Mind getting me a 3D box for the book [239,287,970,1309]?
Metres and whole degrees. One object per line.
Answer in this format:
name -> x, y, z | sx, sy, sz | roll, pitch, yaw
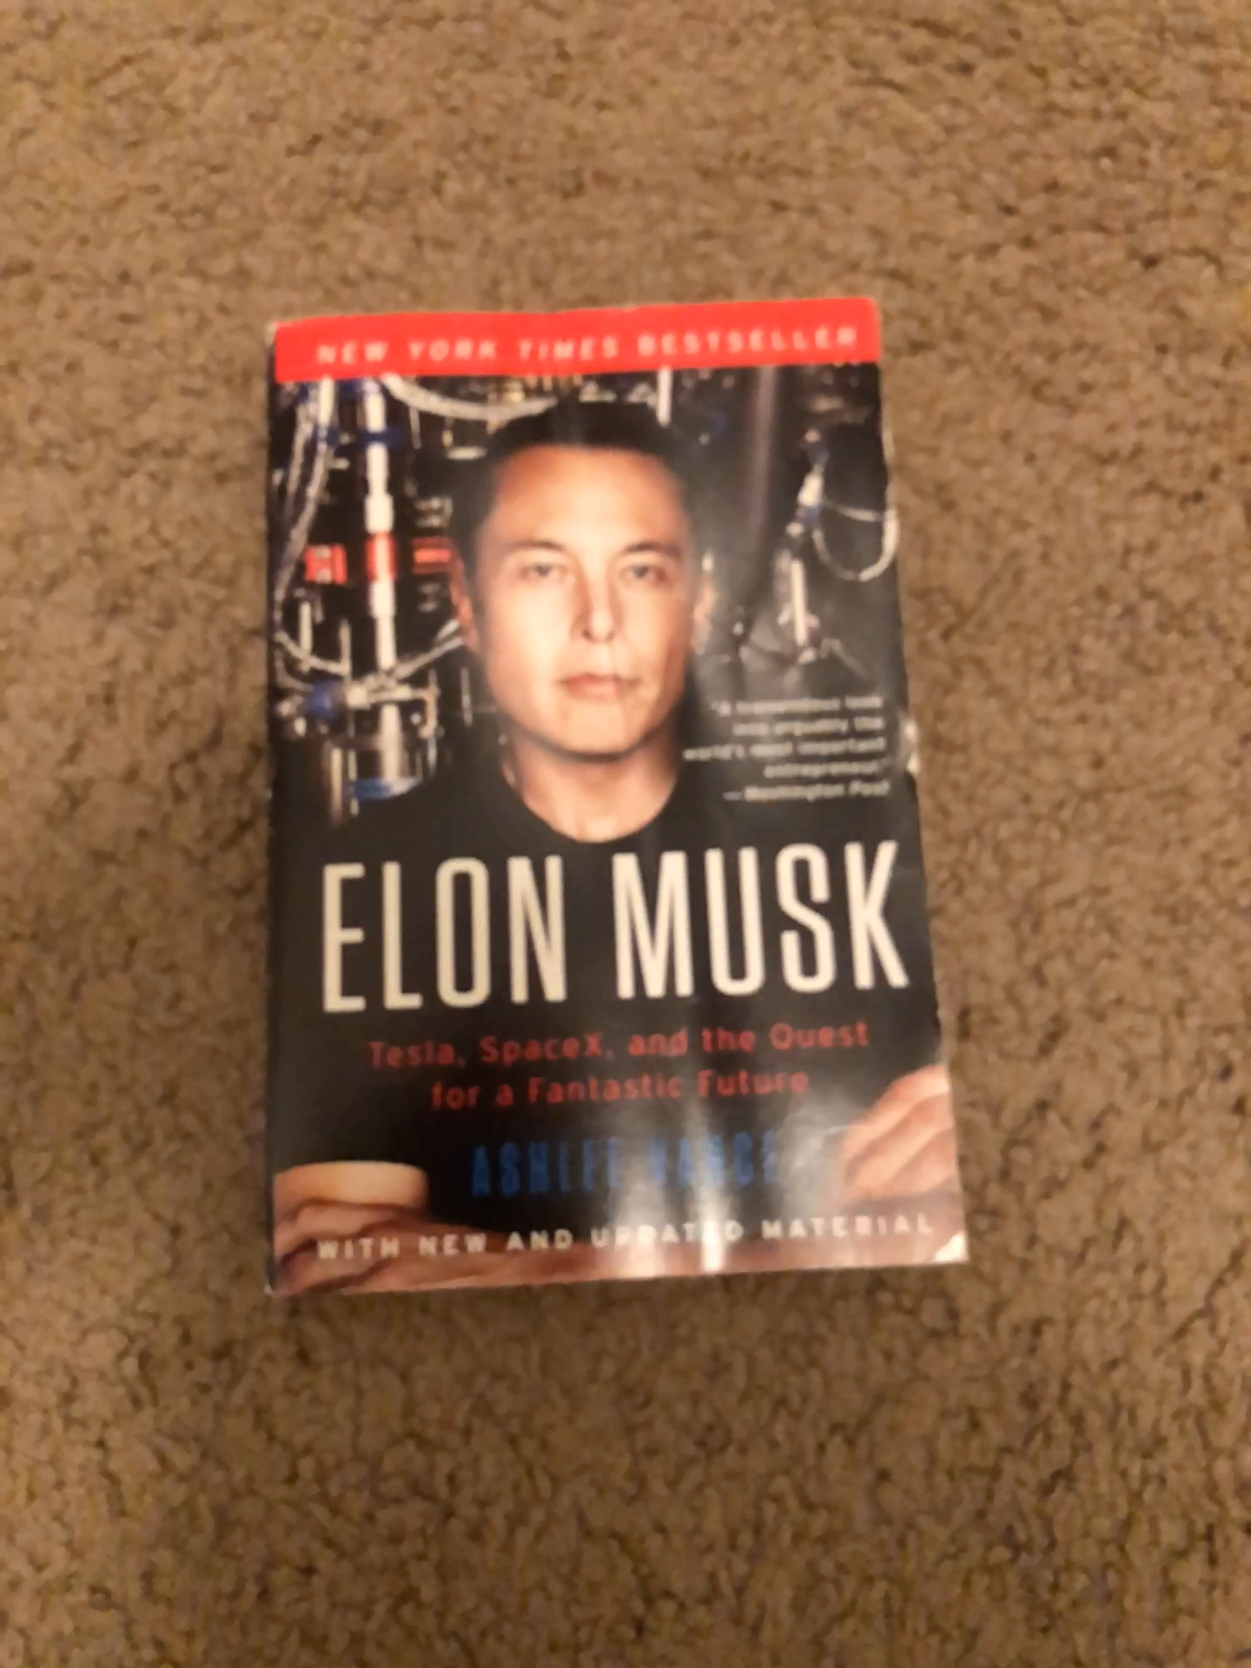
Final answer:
book -> -0.008, -0.011, 0.298 | 0.136, 0.033, 0.202 | -2, 79, 0
